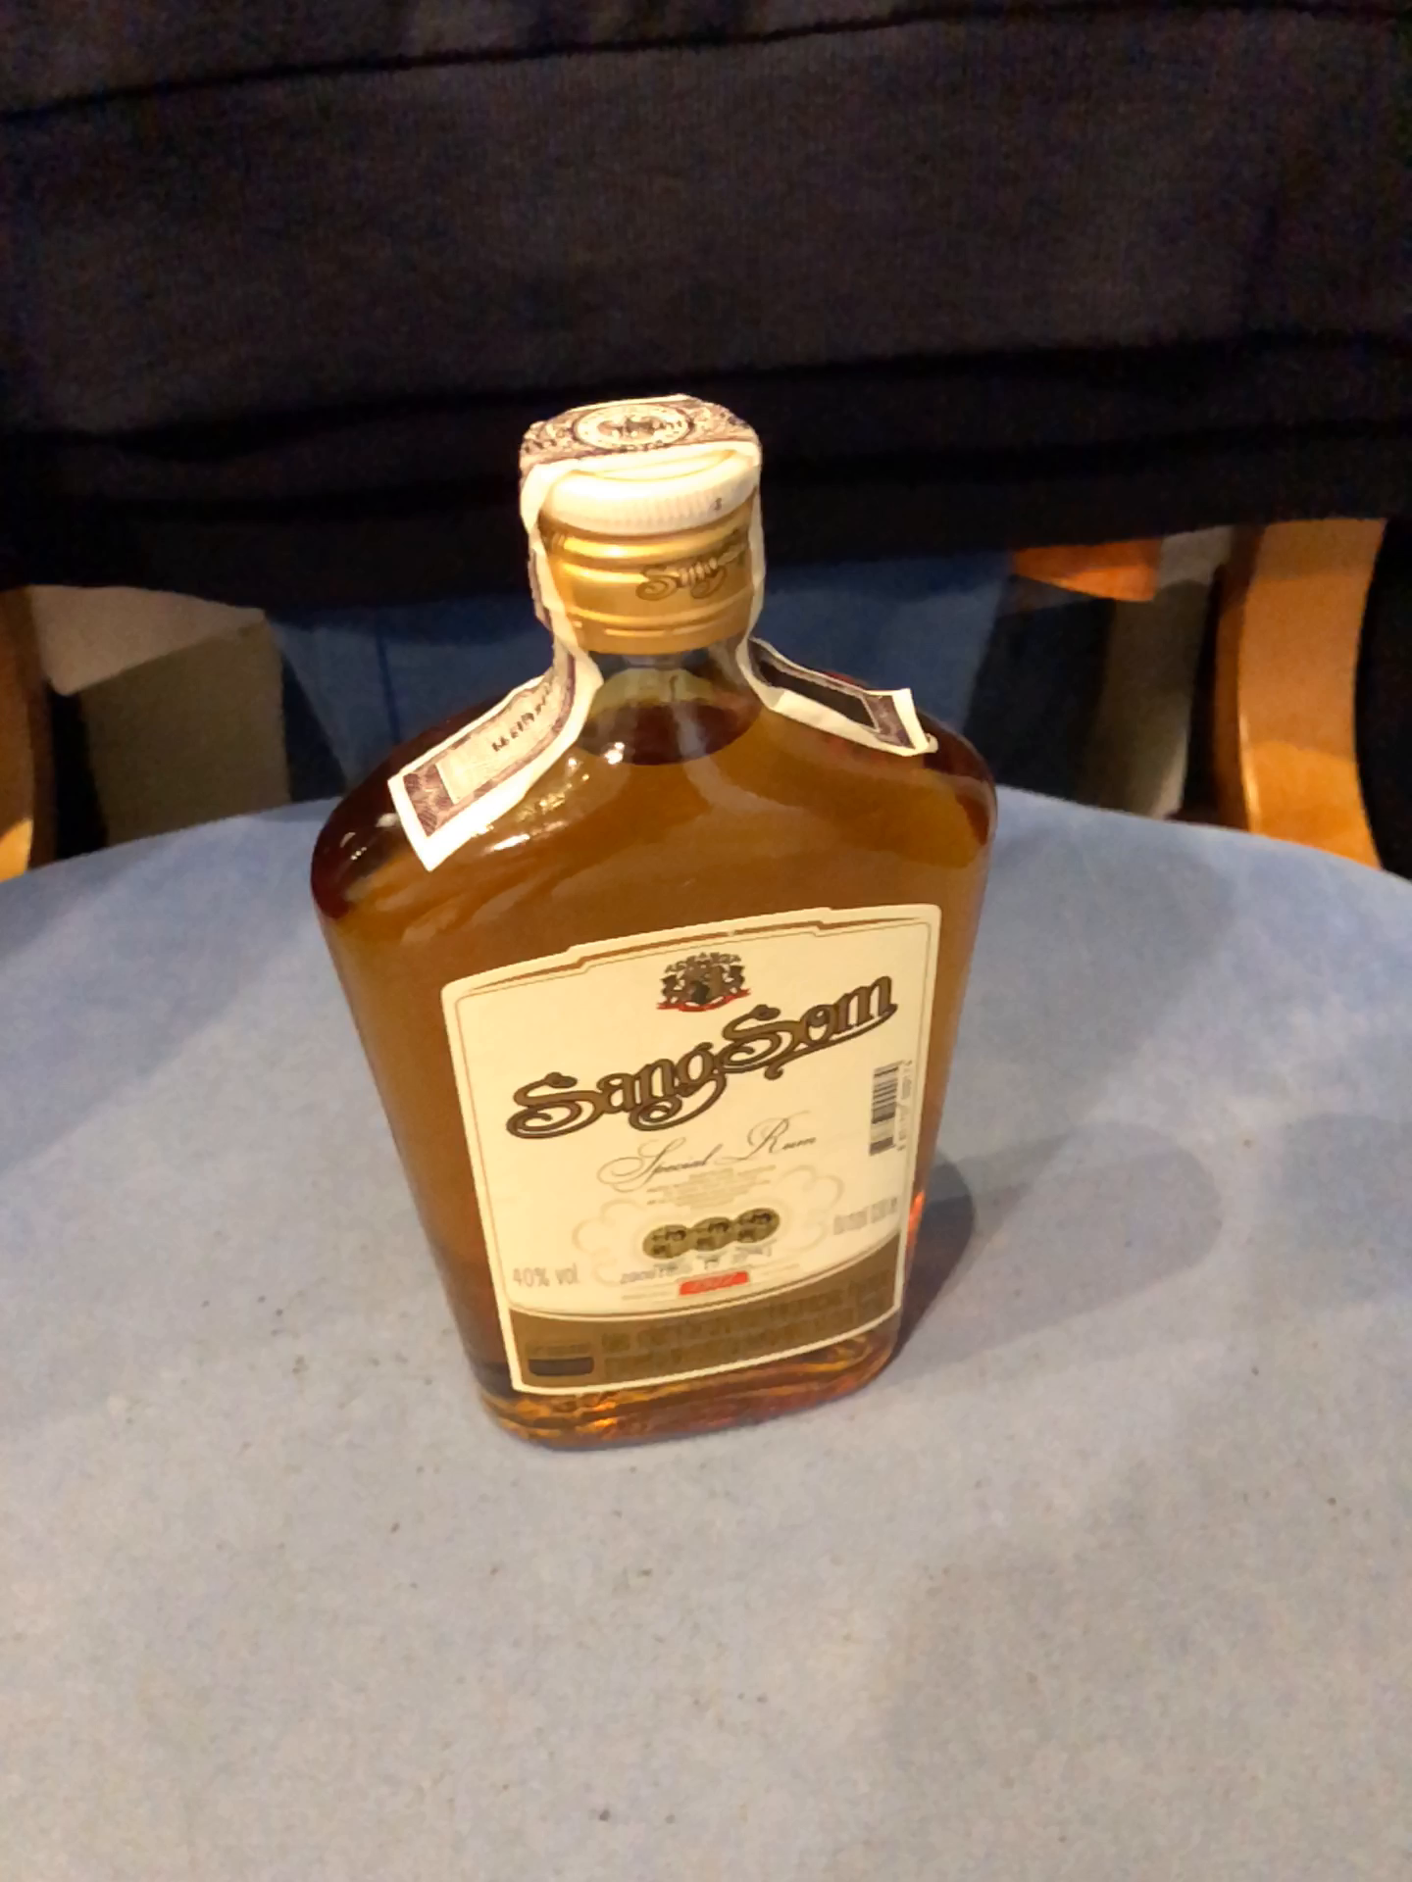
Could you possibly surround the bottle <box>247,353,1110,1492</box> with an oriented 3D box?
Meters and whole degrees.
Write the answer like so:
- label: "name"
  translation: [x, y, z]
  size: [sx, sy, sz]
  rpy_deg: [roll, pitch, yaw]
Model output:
- label: "bottle"
  translation: [-0.004, 0.012, 0.237]
  size: [0.090, 0.179, 0.041]
  rpy_deg: [-9, 44, -8]
